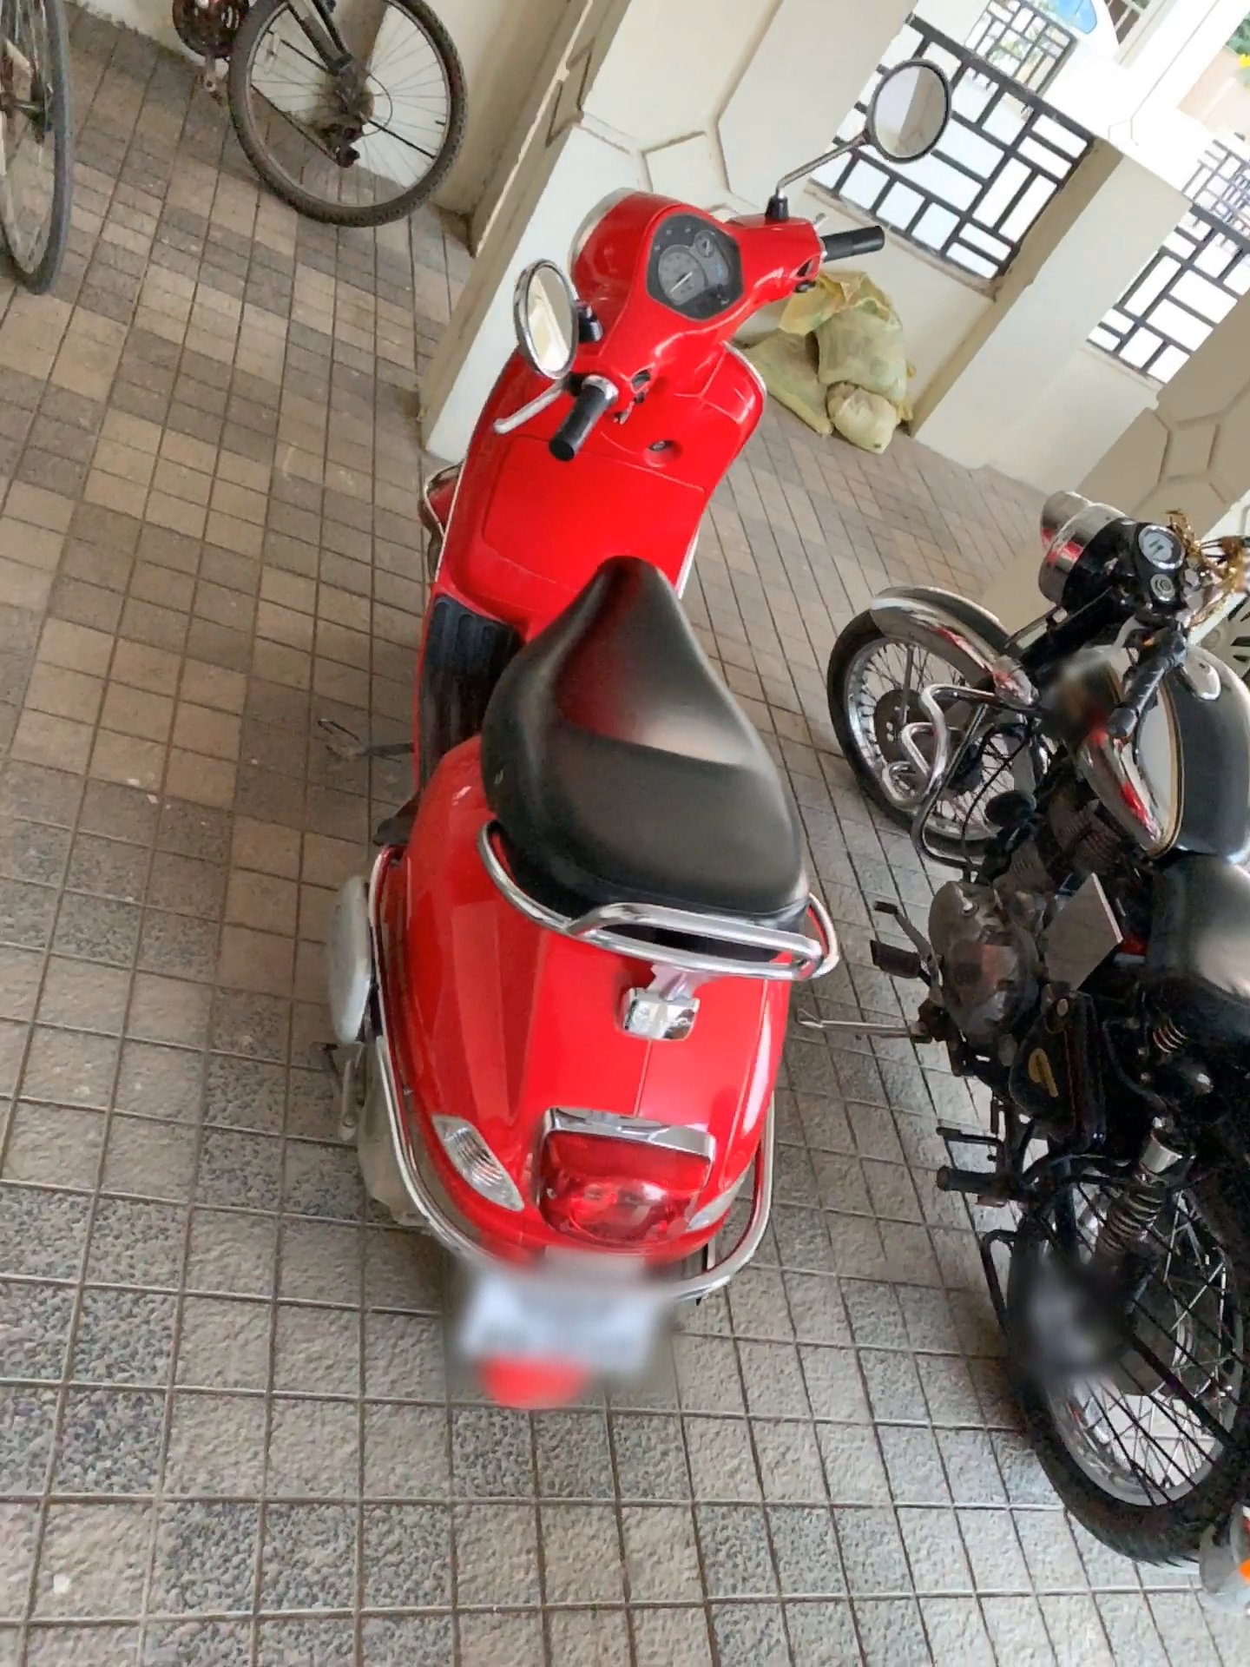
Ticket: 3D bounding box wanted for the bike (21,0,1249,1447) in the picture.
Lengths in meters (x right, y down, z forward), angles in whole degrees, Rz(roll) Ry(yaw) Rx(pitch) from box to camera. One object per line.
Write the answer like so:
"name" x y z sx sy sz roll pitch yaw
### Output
"bike" -0.249 -0.250 1.708 0.682 1.261 1.552 13 44 -29
